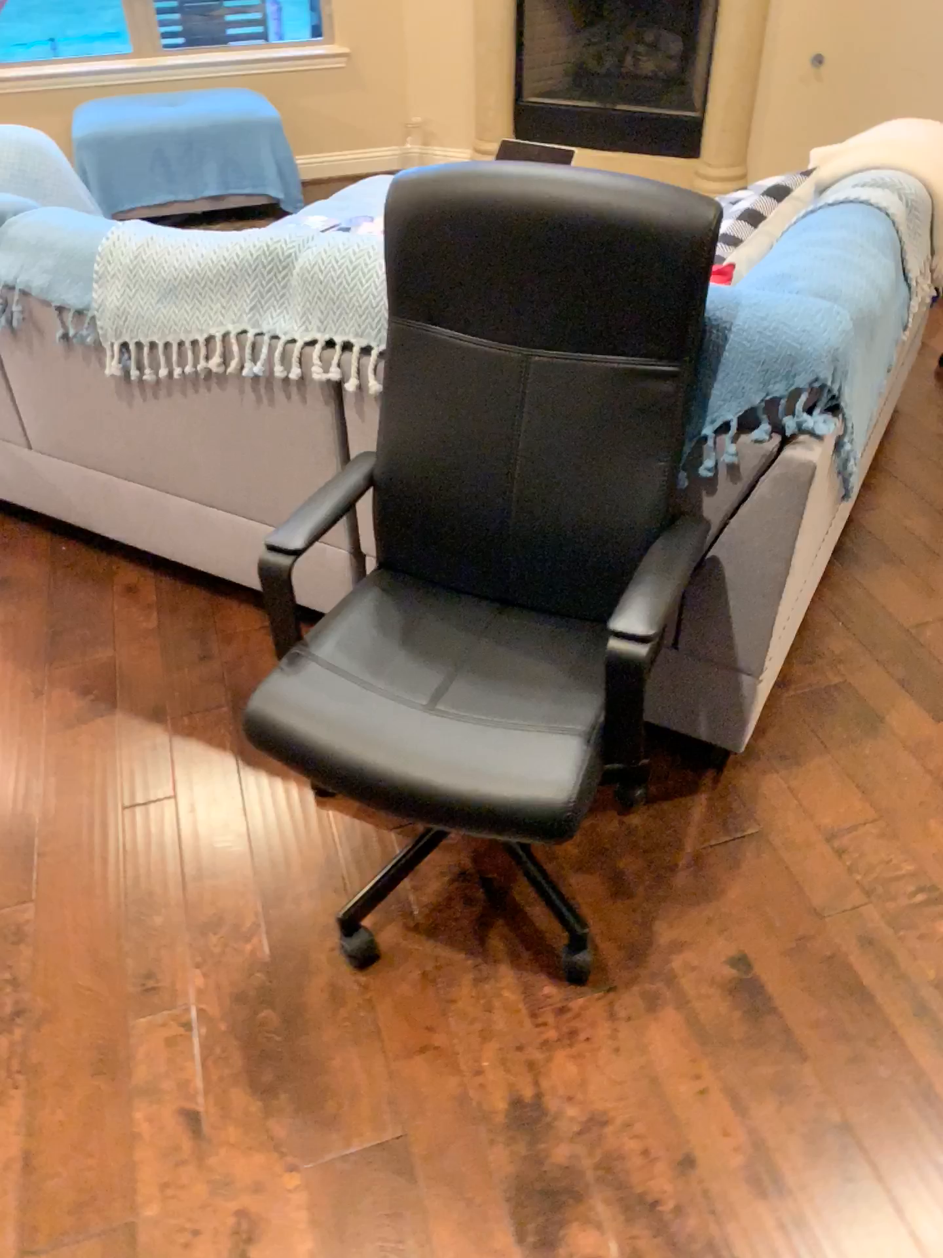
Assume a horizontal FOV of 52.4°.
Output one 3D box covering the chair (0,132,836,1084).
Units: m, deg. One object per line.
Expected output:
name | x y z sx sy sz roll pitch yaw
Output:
chair | -0.008 -0.056 1.443 0.735 1.036 0.762 16 44 20
